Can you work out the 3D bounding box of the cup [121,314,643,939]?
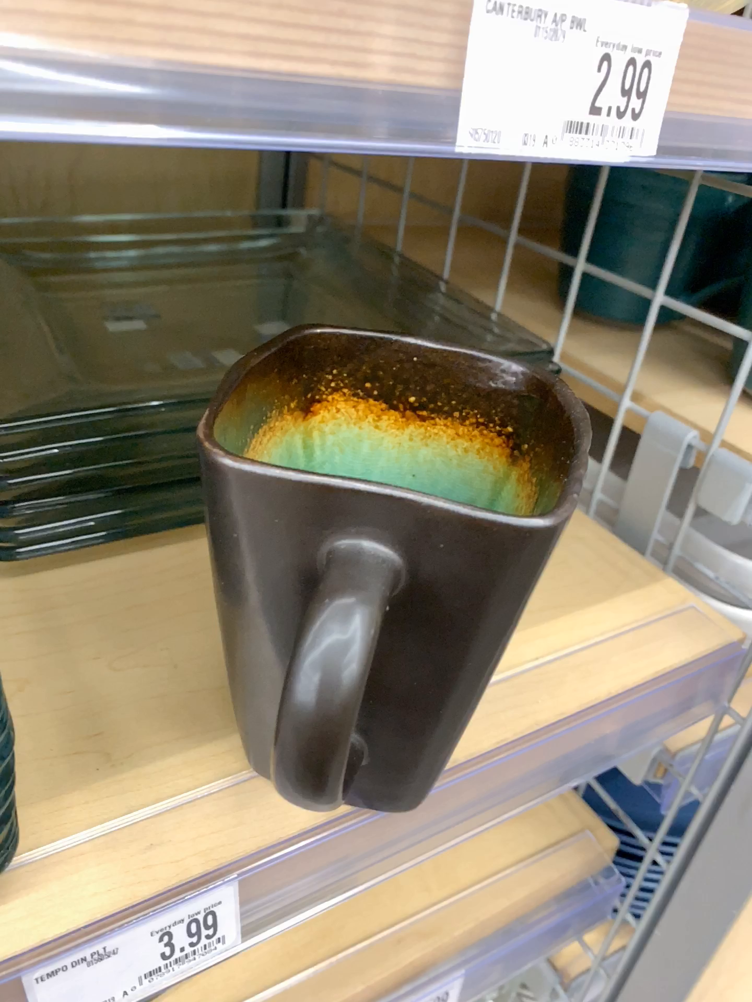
[{"bbox_3d":[0.000,0.023,0.202,0.088,0.099,0.108,10,30,2],"label":"cup"}]
